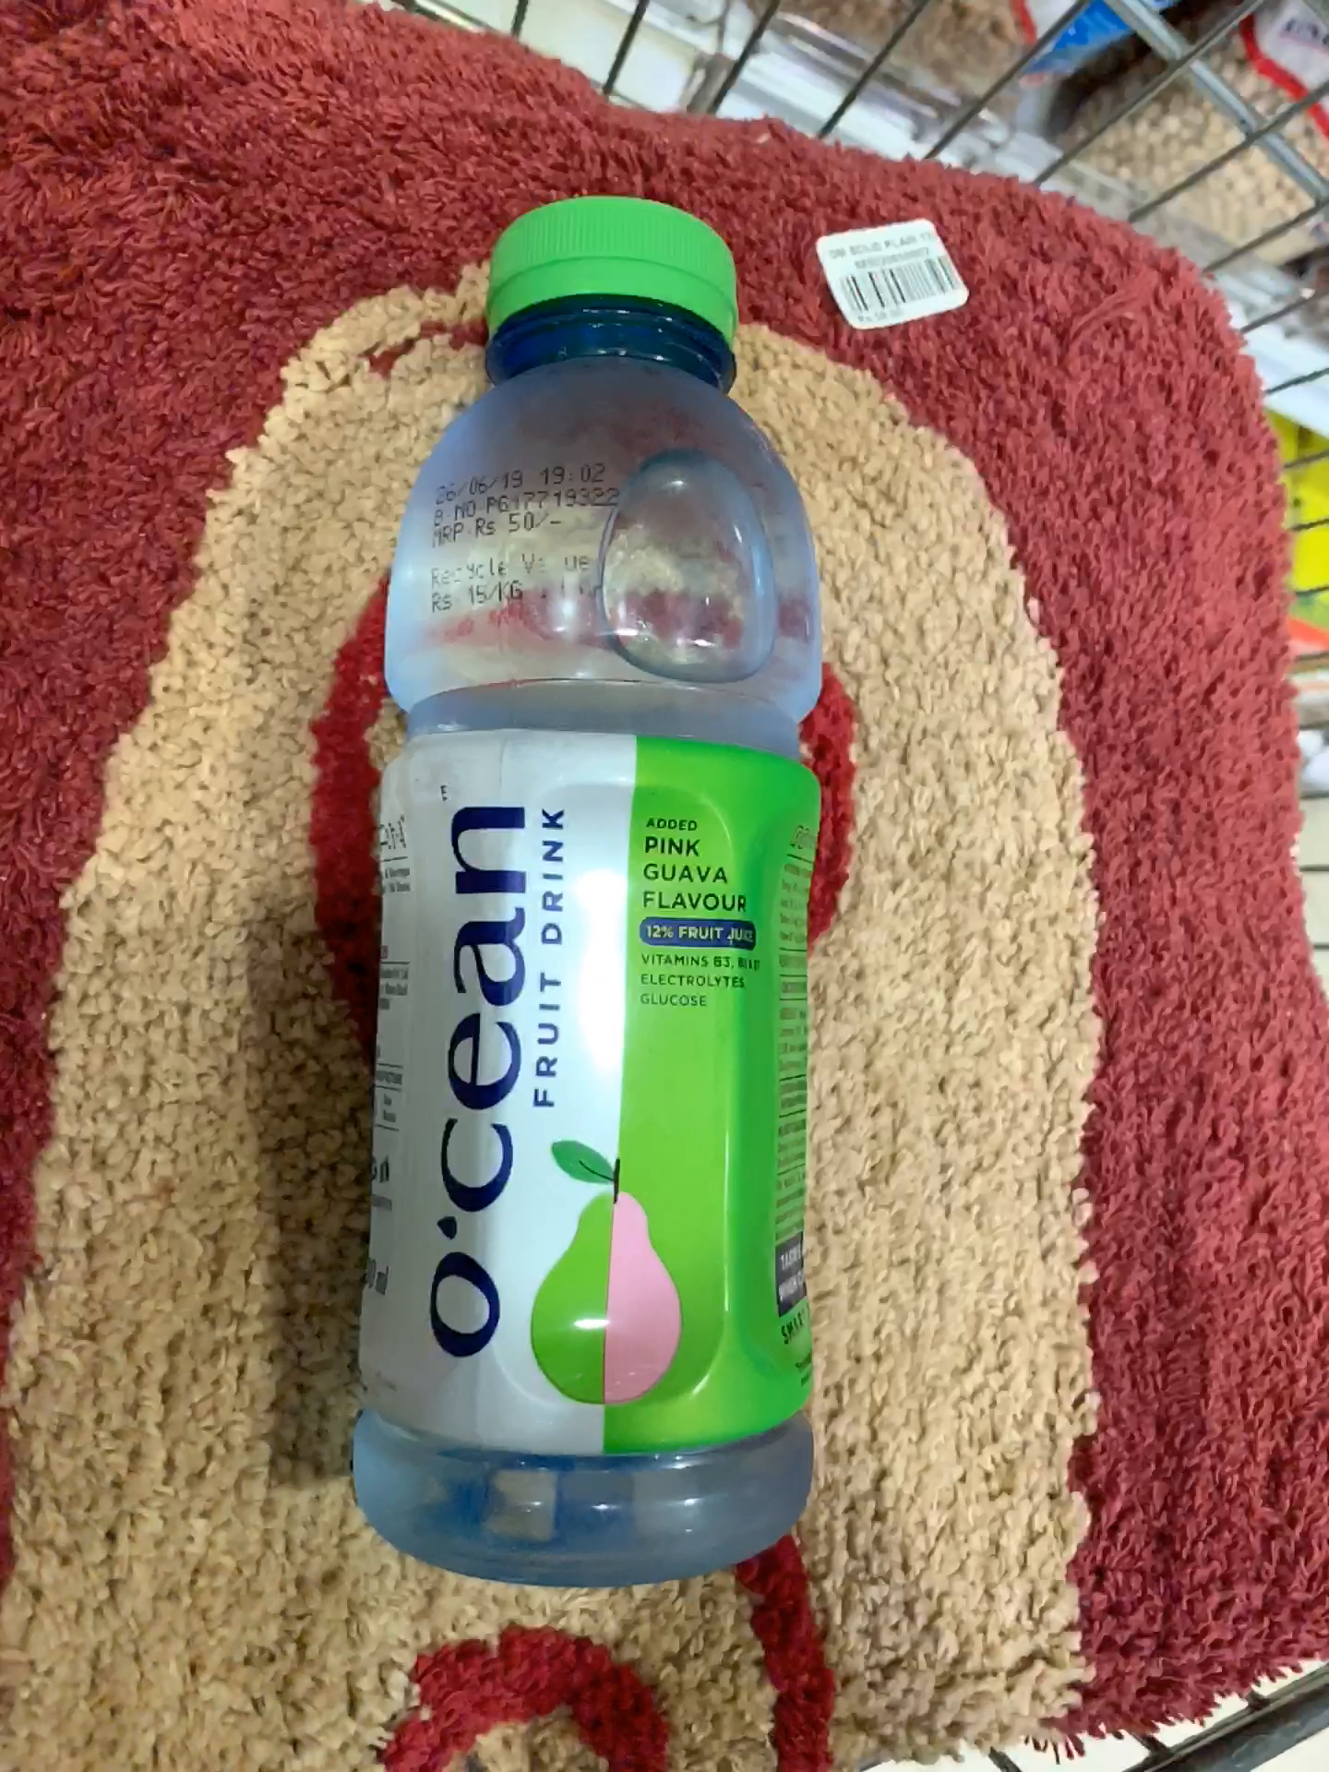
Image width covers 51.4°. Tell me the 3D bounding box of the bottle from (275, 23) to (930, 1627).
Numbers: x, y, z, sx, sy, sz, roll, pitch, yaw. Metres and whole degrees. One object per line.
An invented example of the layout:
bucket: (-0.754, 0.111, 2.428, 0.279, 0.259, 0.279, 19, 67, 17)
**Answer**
bottle: (-0.007, -0.009, 0.217, 0.080, 0.070, 0.210, 2, 86, -2)
